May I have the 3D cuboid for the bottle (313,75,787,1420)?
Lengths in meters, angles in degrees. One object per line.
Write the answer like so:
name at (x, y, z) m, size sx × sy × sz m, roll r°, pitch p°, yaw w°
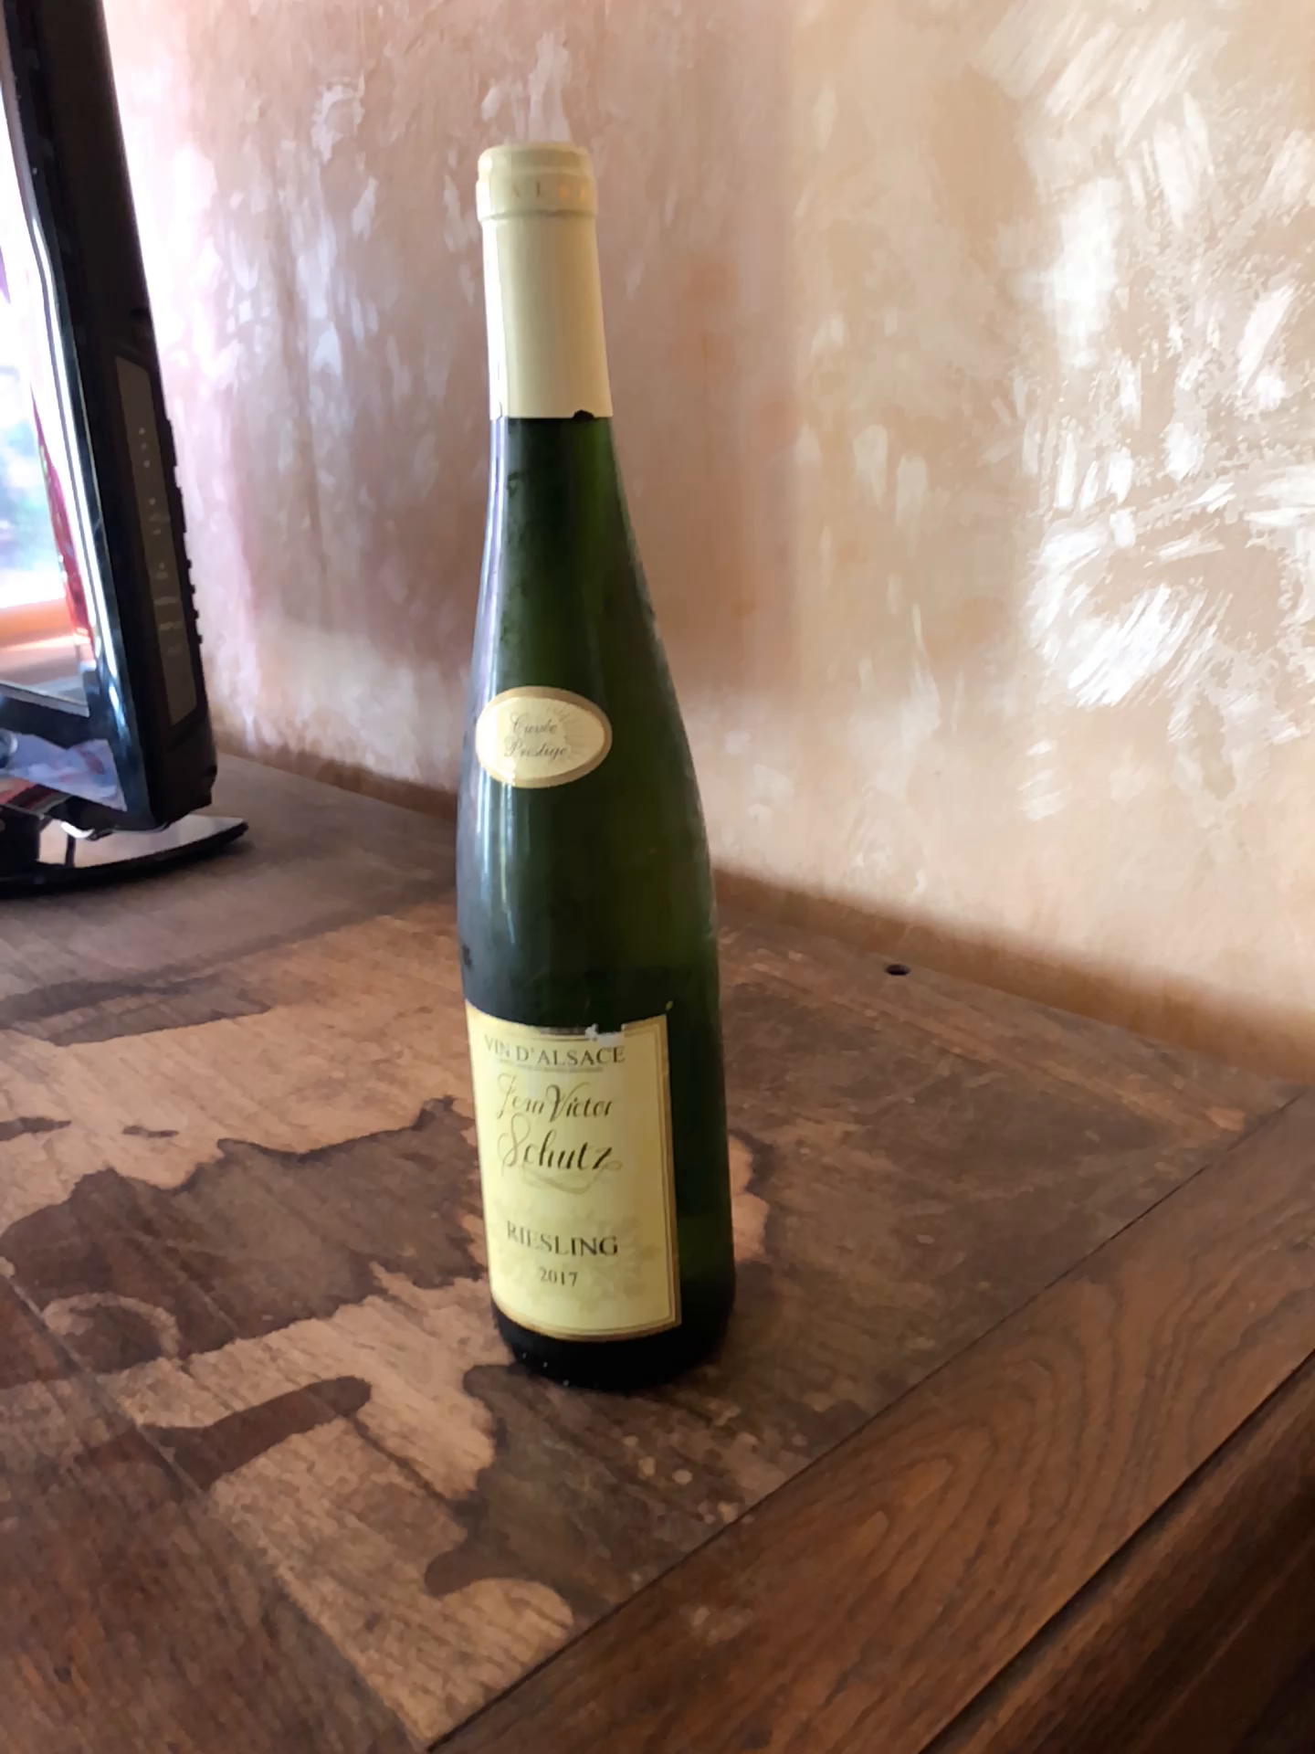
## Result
bottle at (-0.017, -0.023, 0.383) m, size 0.080 × 0.319 × 0.080 m, roll -2°, pitch 18°, yaw 1°
